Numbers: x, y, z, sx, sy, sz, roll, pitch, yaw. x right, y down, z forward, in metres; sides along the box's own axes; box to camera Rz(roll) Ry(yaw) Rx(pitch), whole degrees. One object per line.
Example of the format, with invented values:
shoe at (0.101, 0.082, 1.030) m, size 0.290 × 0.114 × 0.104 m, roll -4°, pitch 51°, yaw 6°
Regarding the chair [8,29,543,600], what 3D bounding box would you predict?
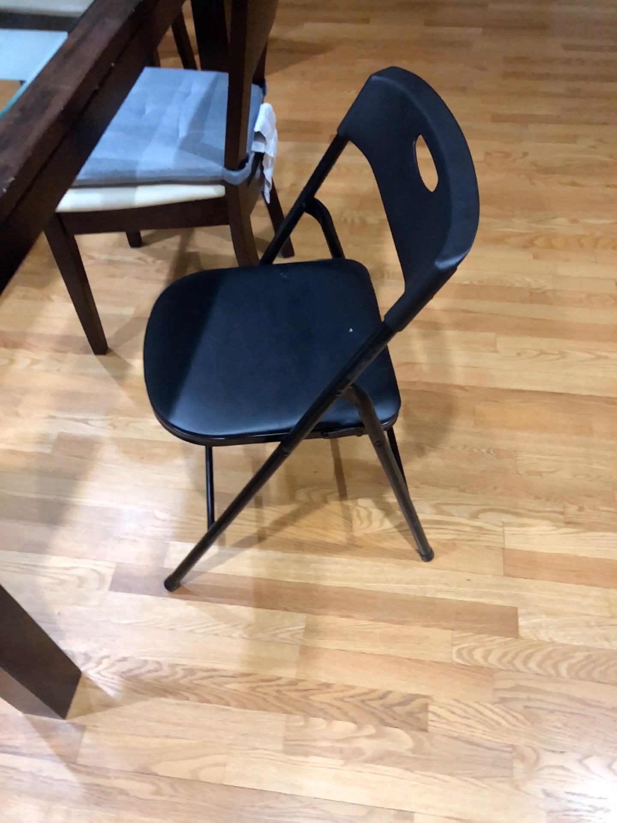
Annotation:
chair at (-0.041, -0.112, 1.091) m, size 0.520 × 0.697 × 0.522 m, roll -6°, pitch 52°, yaw -2°
